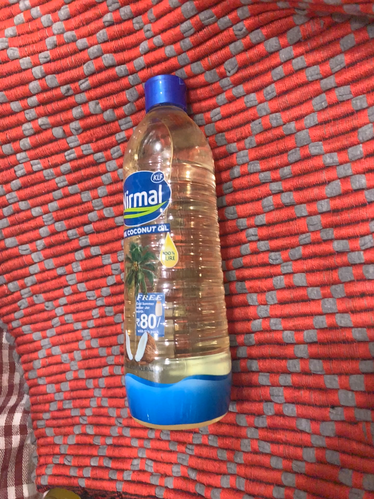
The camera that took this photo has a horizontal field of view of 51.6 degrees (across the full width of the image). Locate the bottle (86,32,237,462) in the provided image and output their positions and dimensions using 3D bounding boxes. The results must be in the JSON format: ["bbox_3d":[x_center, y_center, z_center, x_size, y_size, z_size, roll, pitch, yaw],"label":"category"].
[{"bbox_3d":[-0.016,-0.002,0.218,0.060,0.050,0.200,-6,85,39],"label":"bottle"}]
